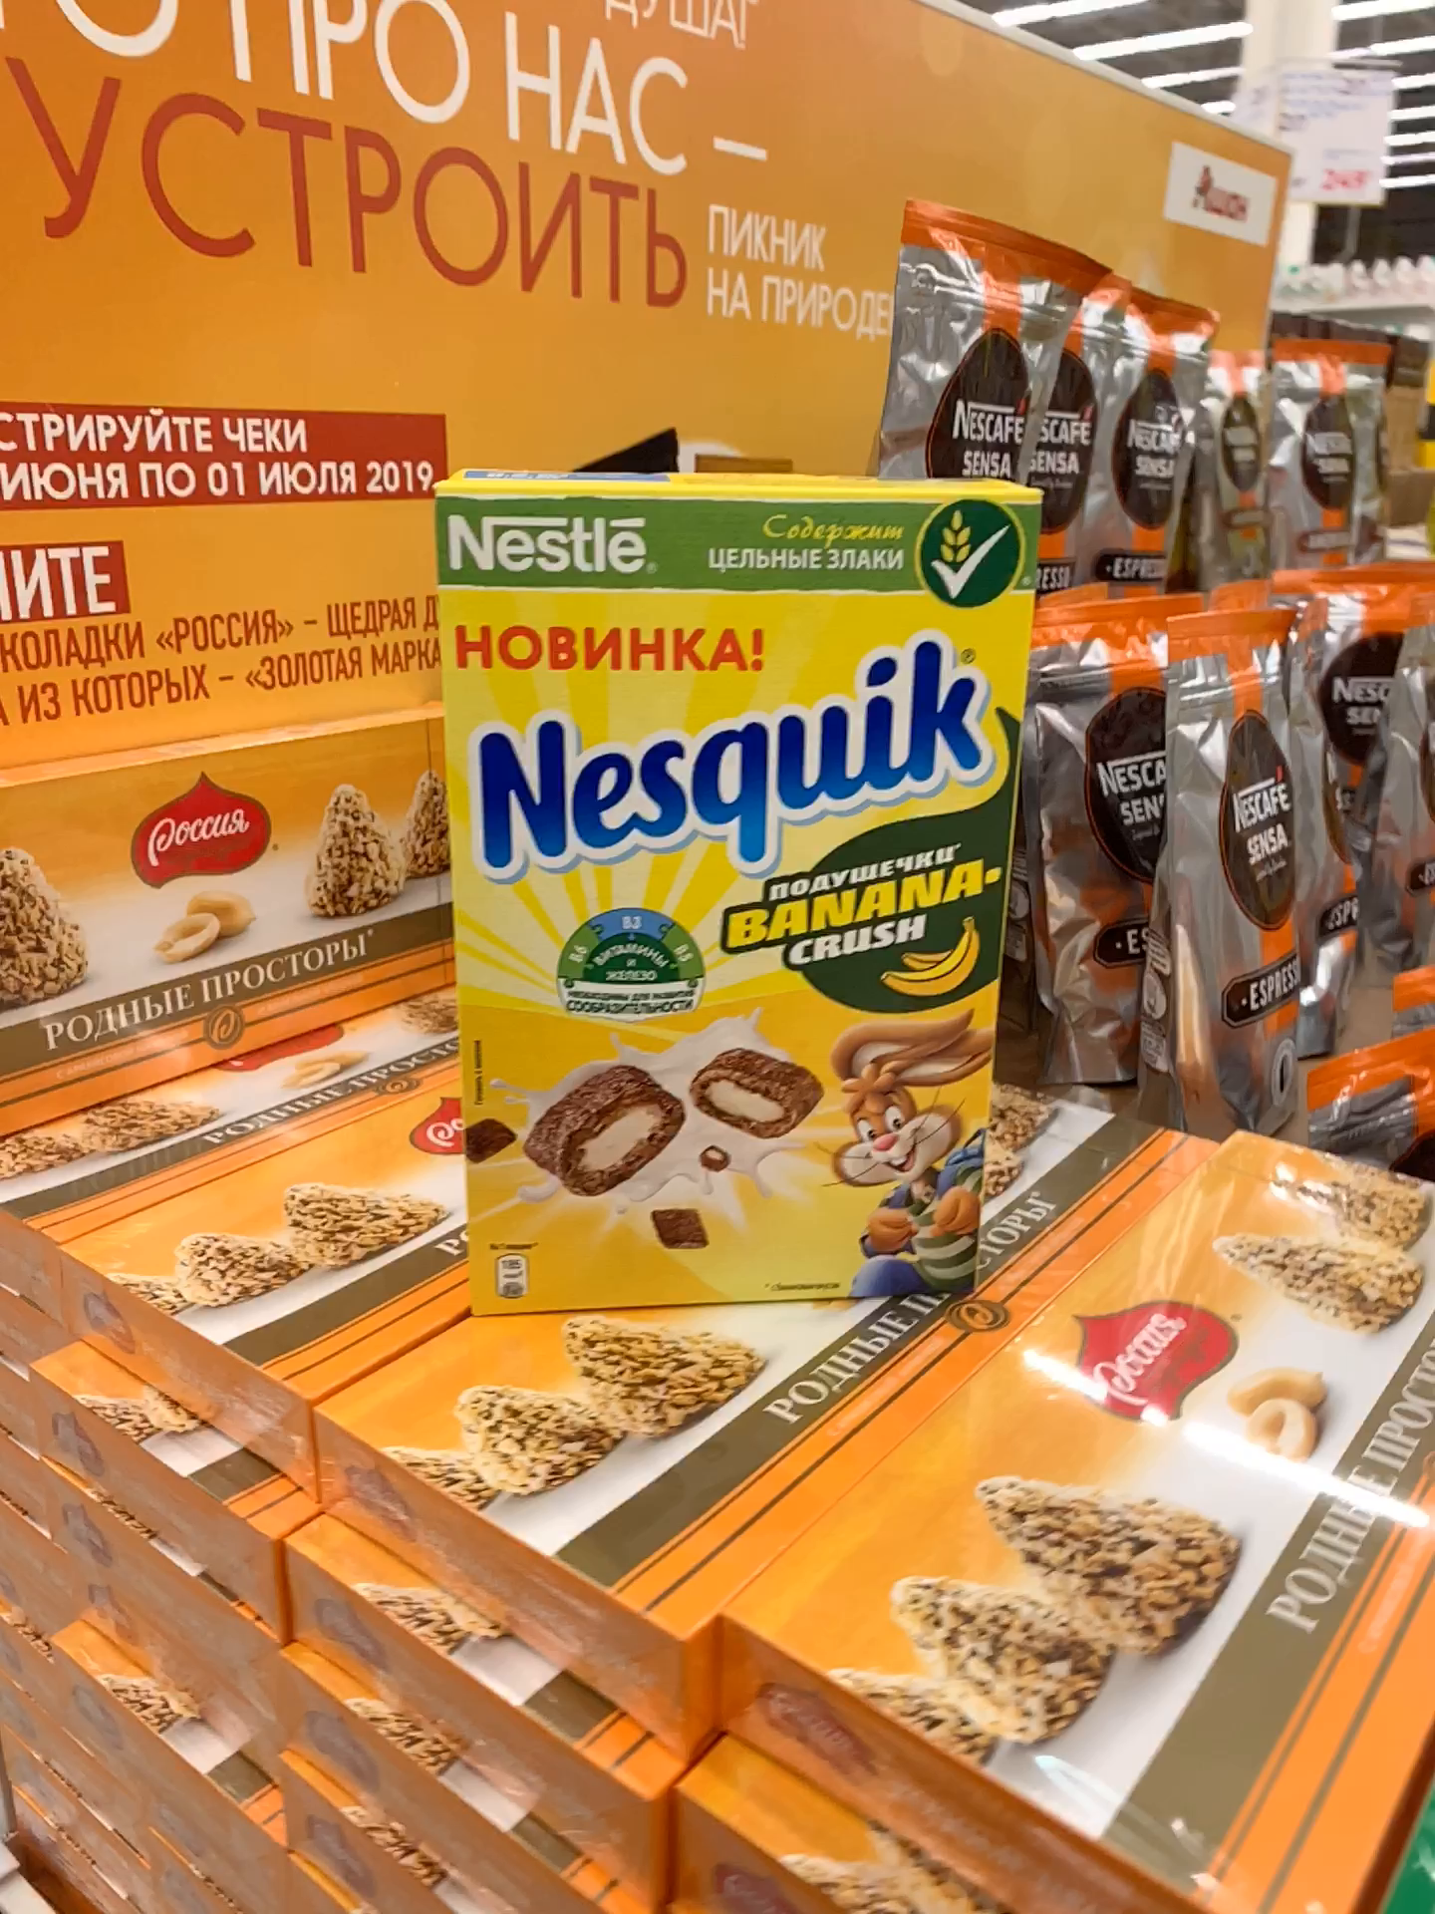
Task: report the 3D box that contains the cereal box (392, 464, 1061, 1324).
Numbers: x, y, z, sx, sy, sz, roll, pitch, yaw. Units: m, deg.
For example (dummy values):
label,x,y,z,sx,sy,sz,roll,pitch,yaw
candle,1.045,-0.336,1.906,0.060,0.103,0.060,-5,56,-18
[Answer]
label,x,y,z,sx,sy,sz,roll,pitch,yaw
cereal box,0.001,-0.016,0.412,0.160,0.229,0.050,-1,18,-5
